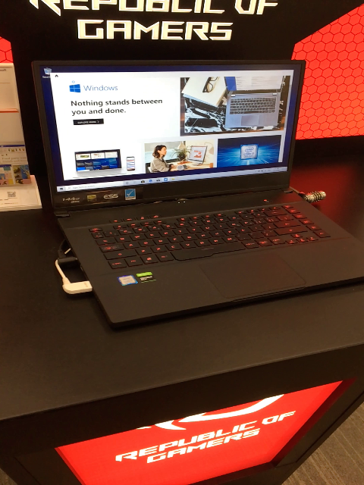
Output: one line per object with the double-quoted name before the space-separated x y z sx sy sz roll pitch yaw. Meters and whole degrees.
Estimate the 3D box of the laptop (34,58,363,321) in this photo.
"laptop" 0.053 -0.097 0.629 0.393 0.211 0.302 -10 39 -19
